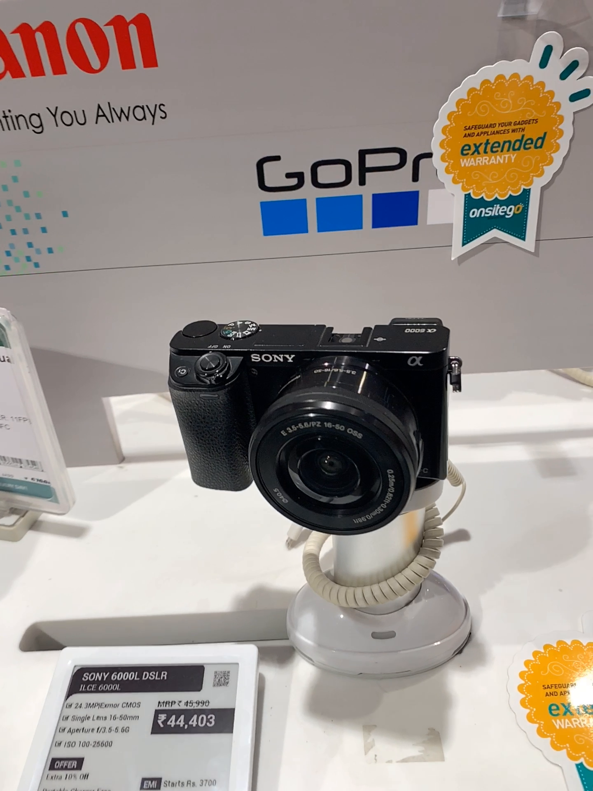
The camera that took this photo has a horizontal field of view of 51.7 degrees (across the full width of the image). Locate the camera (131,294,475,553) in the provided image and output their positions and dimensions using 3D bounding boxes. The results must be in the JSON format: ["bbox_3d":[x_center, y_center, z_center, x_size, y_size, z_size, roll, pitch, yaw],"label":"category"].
[{"bbox_3d":[0.007,0.010,0.255,0.120,0.090,0.050,2,33,11],"label":"camera"}]
